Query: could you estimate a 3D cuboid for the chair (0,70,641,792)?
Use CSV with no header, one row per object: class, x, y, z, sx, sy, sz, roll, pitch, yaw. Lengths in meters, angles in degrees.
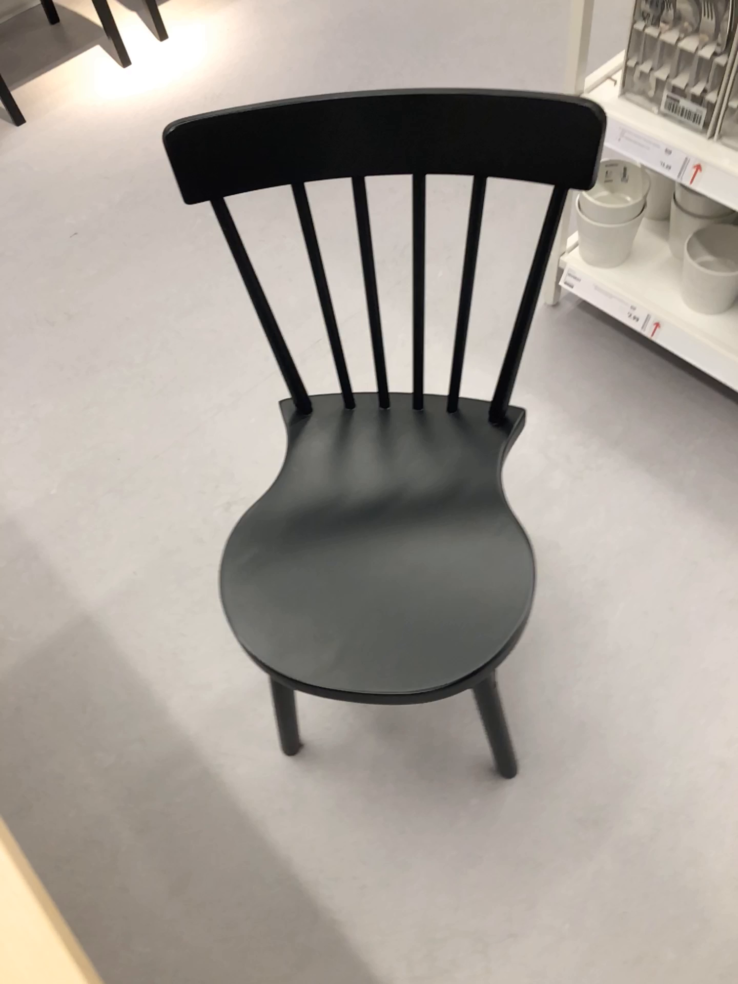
chair,0.011,-0.010,0.984,0.480,0.716,0.522,3,59,10
